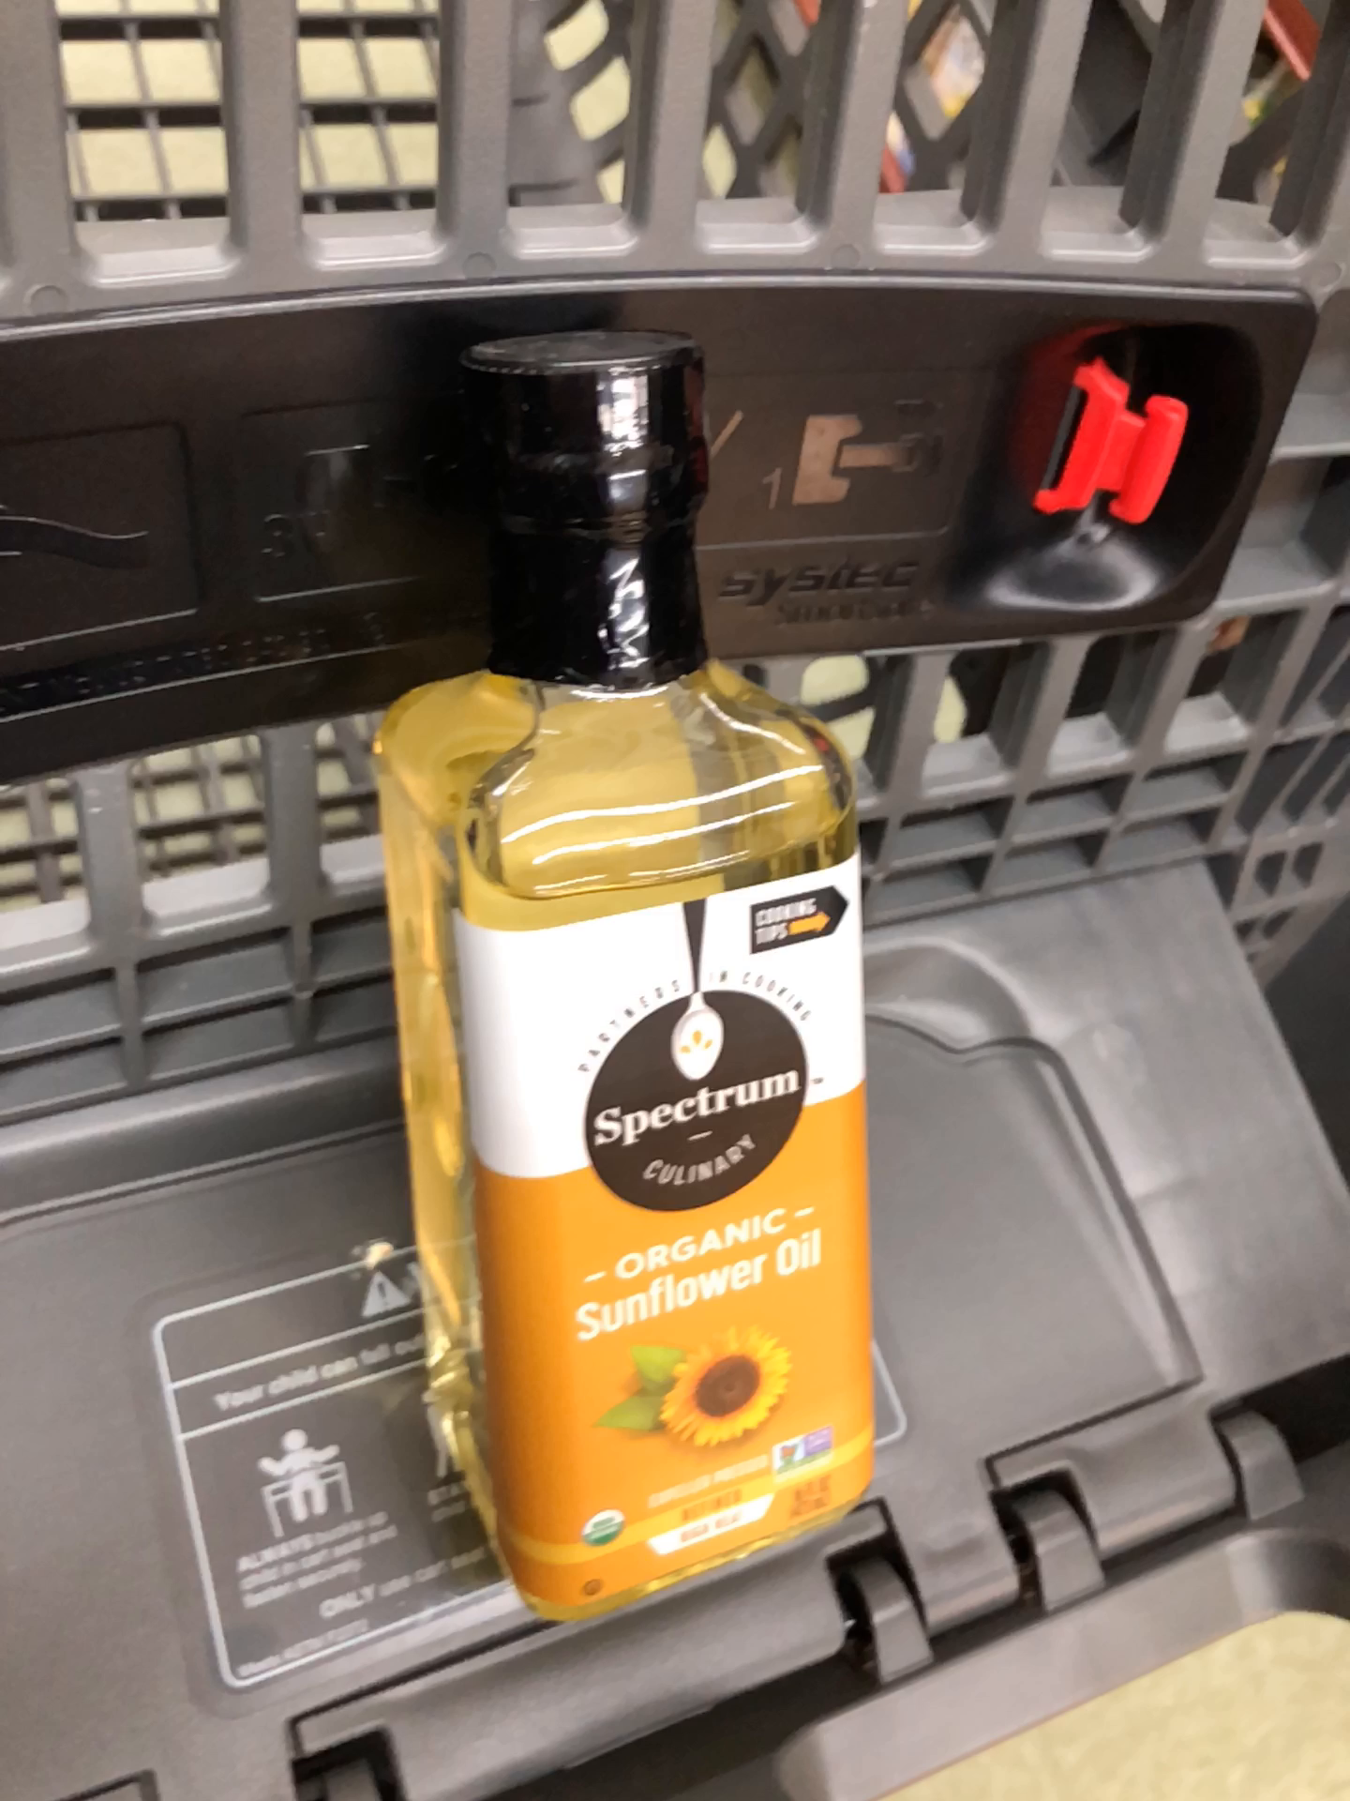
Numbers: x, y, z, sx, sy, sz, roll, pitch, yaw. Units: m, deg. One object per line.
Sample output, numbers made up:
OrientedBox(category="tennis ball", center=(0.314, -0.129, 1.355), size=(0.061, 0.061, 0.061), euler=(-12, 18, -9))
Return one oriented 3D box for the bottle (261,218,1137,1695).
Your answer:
OrientedBox(category="bottle", center=(-0.001, 0.013, 0.228), size=(0.080, 0.200, 0.070), euler=(-13, 33, -21))
